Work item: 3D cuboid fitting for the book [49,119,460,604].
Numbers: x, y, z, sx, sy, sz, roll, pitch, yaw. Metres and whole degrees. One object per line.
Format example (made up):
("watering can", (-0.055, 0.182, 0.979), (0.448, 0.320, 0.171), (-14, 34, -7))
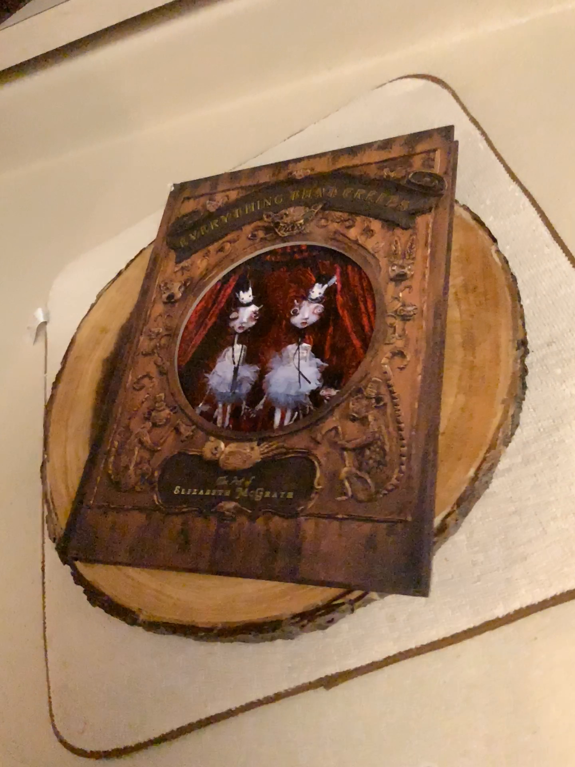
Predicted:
("book", (-0.013, -0.030, 0.419), (0.230, 0.020, 0.310), (-3, 61, 25))
